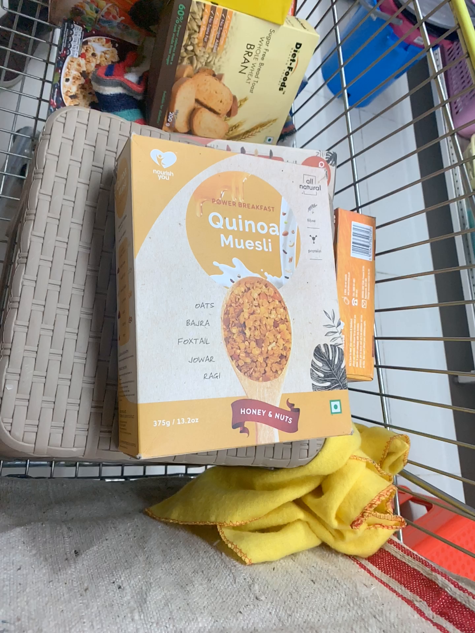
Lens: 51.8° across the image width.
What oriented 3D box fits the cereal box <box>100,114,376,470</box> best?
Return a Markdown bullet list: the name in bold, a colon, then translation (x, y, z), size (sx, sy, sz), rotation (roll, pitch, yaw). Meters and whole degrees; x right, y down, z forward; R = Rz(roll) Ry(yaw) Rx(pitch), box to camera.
- **cereal box**: translation (-0.004, -0.011, 0.338), size (0.160, 0.080, 0.200), rotation (1, 80, -26)
